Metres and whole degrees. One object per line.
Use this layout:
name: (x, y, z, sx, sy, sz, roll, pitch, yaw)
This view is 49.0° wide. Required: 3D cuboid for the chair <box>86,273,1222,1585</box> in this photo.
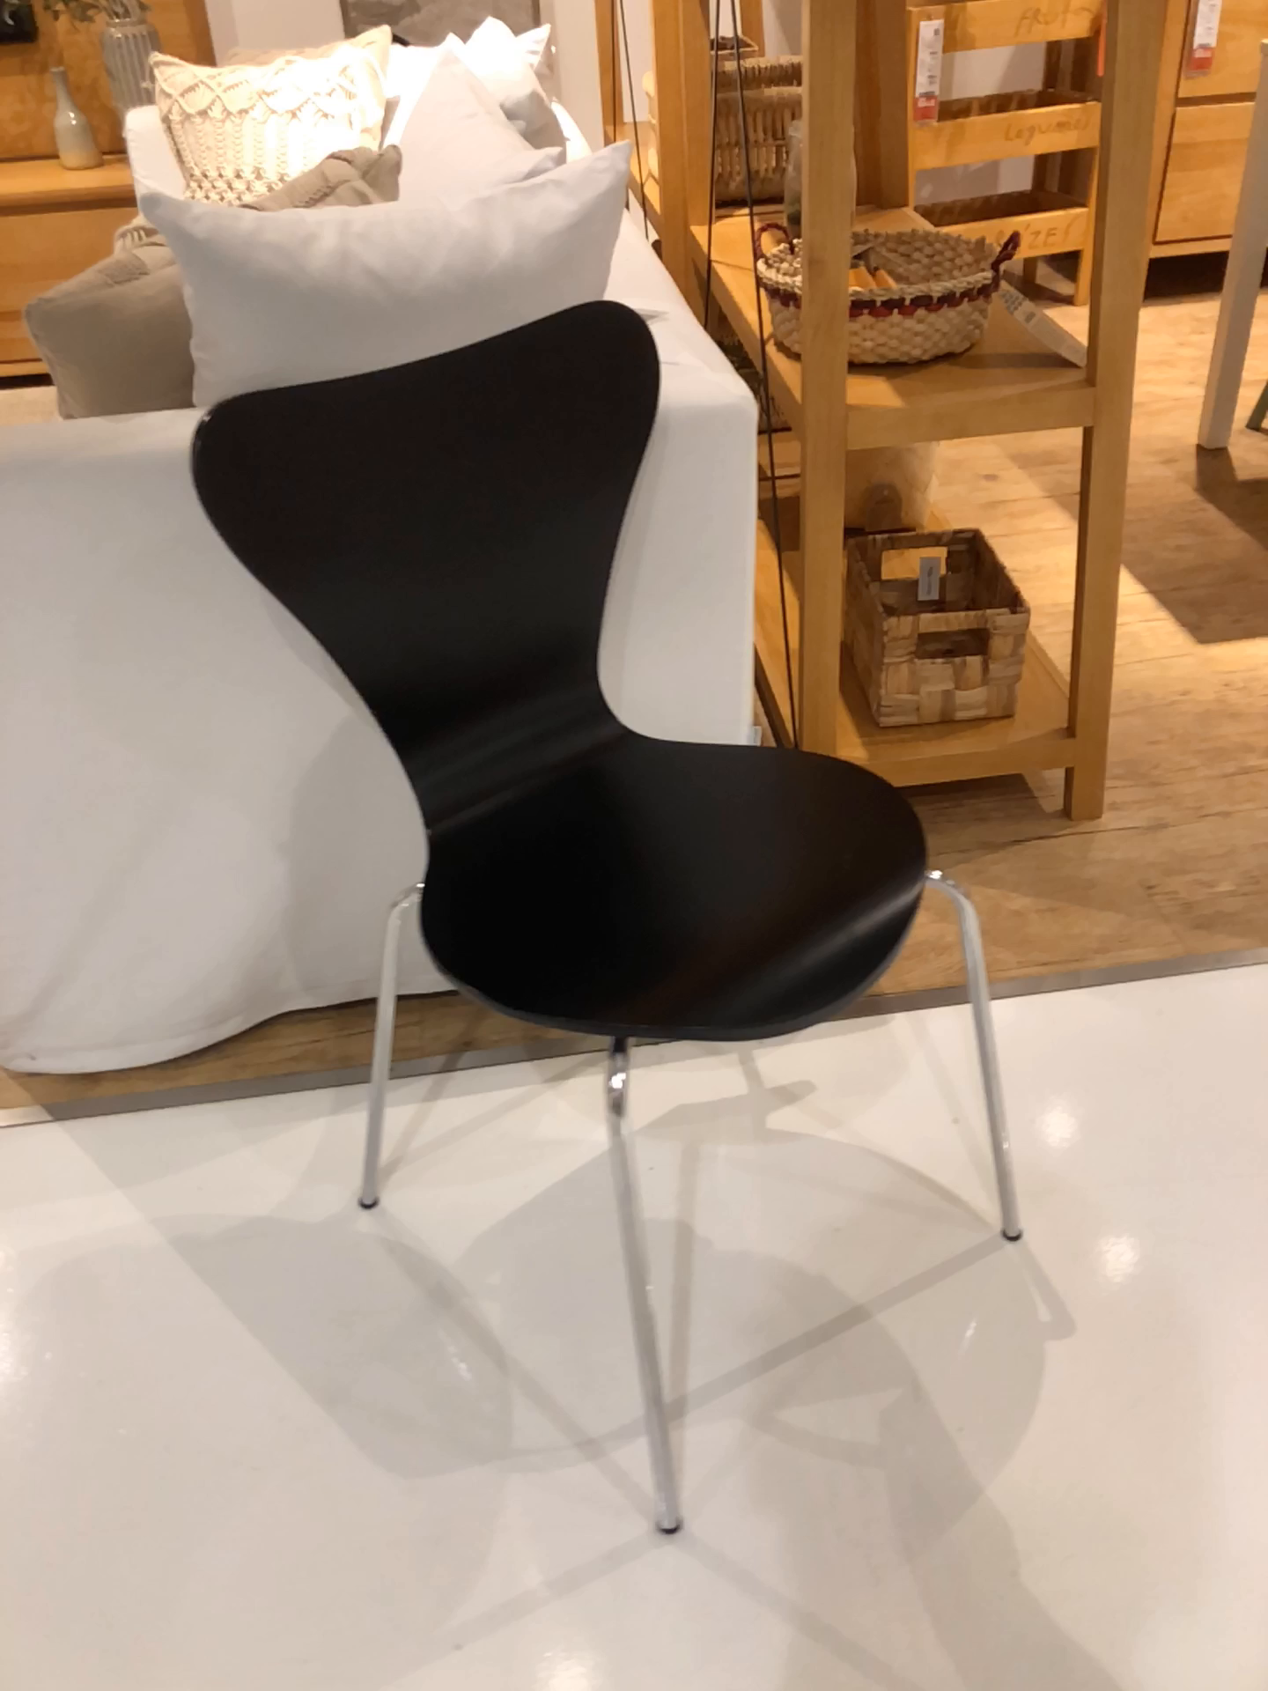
chair: (0.017, 0.027, 1.161, 0.542, 0.774, 0.553, -28, 42, -30)
